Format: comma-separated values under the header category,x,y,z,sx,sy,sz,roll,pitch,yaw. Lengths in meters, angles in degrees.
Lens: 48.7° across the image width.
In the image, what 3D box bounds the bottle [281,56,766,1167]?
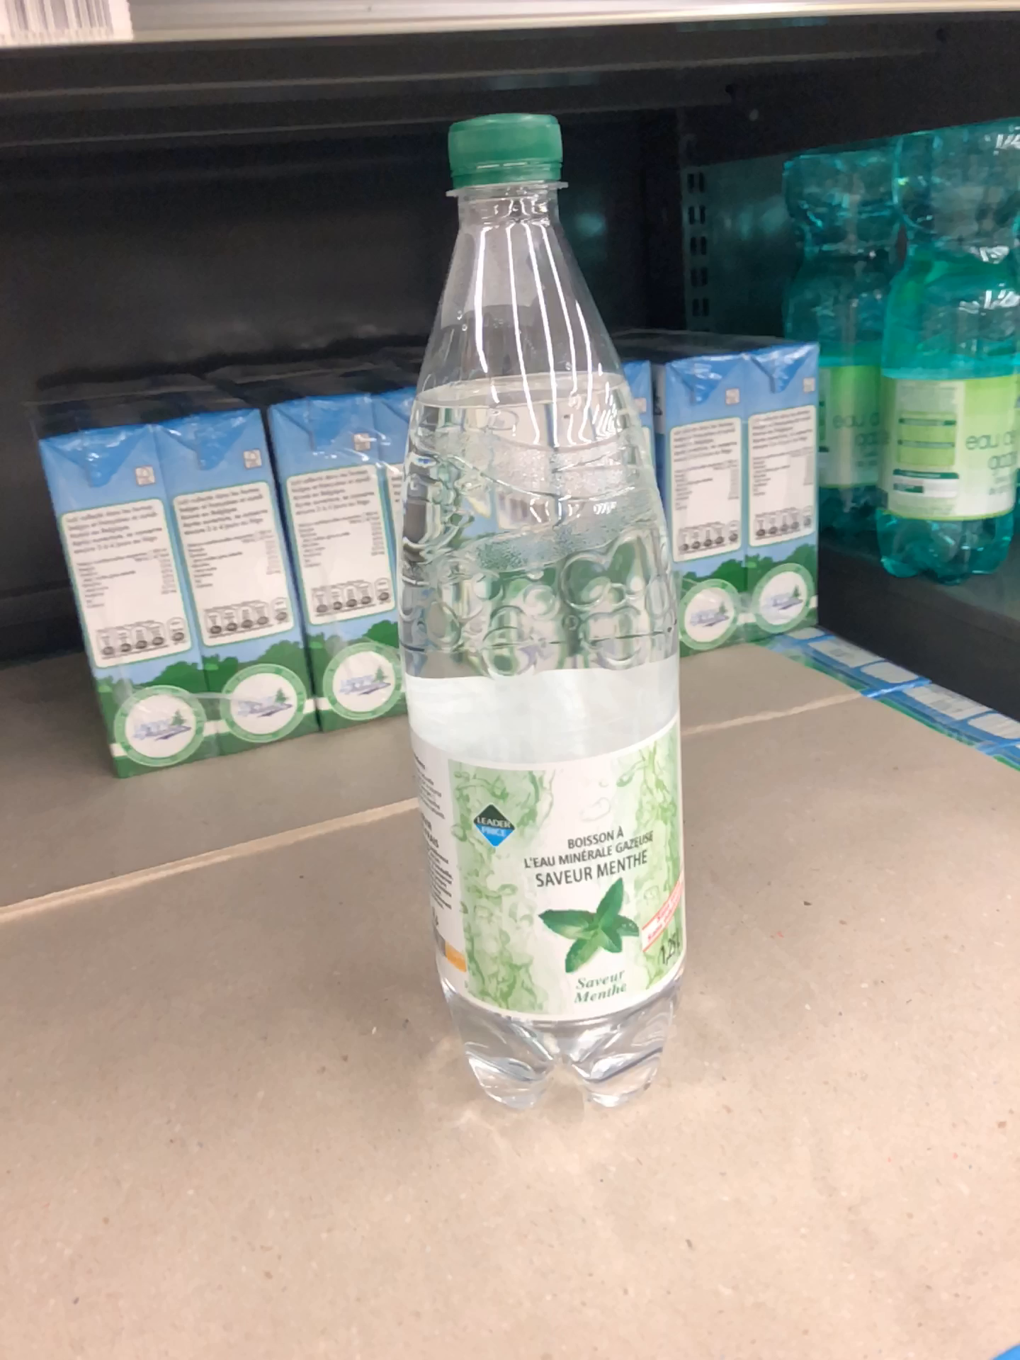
category,x,y,z,sx,sy,sz,roll,pitch,yaw
bottle,0.010,-0.013,0.346,0.100,0.299,0.090,-11,22,-14
